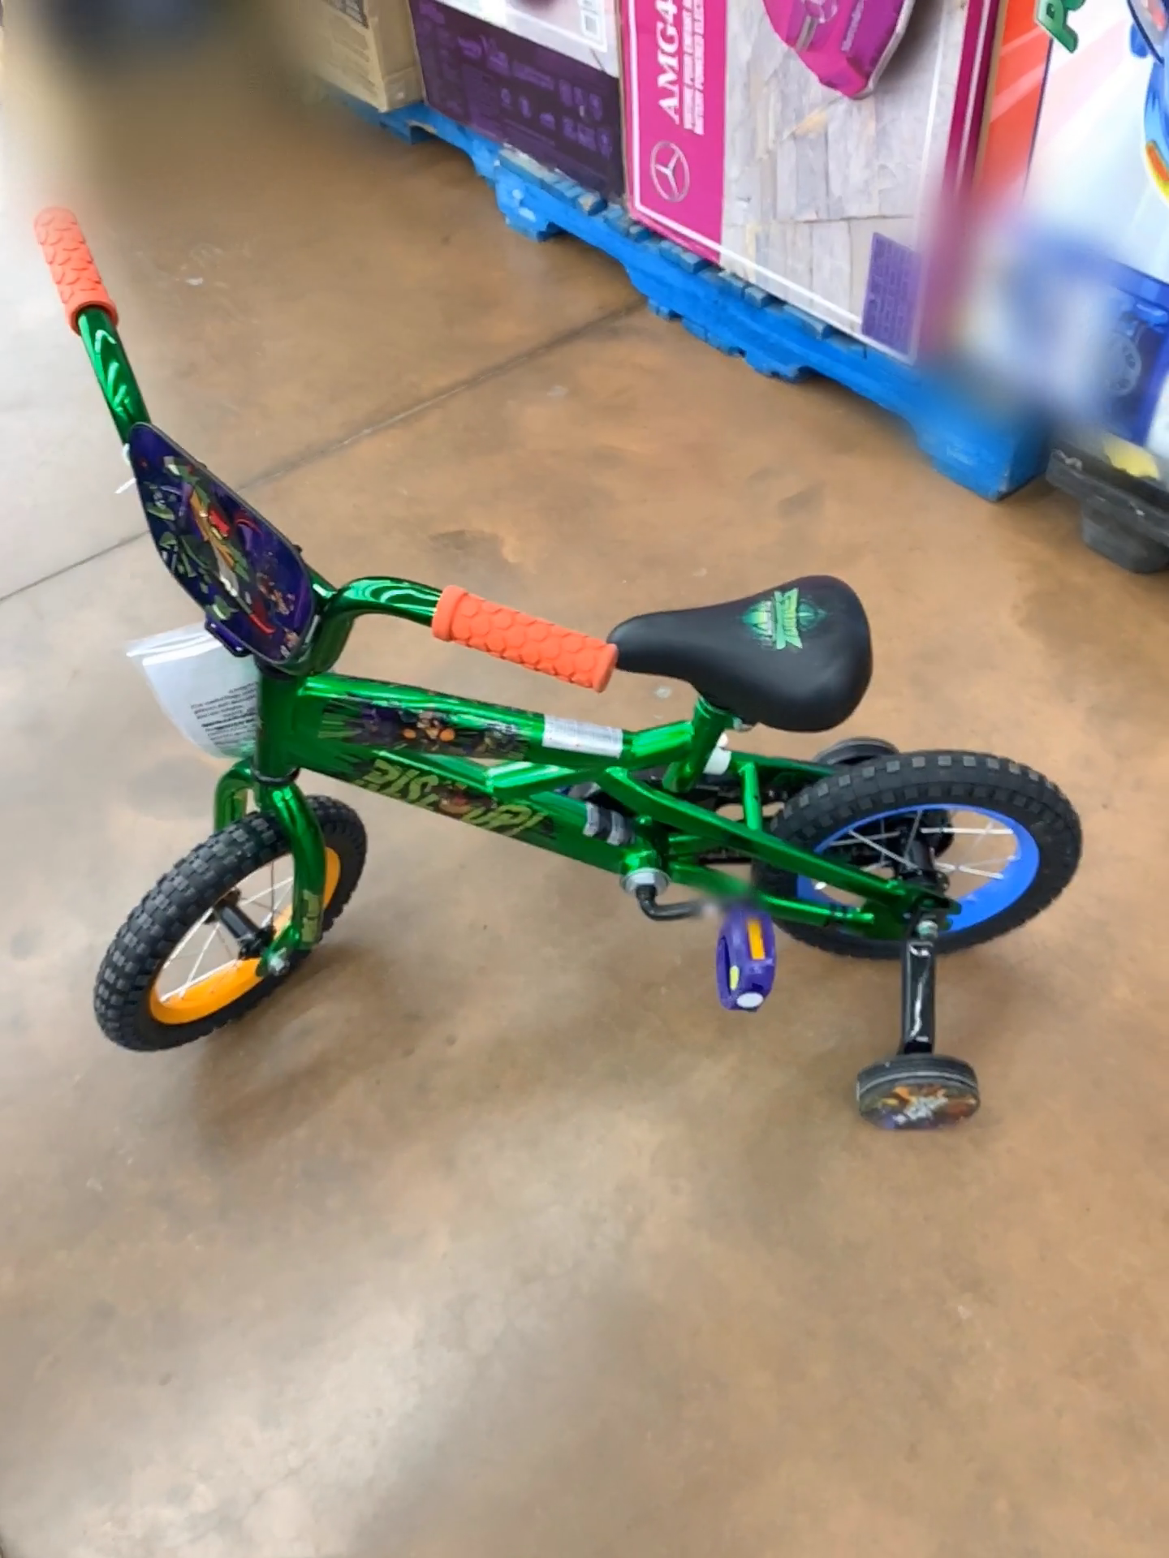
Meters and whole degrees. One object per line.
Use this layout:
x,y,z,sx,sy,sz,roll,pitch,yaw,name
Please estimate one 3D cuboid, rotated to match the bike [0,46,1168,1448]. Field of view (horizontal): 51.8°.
0.008,0.007,0.833,0.850,0.732,0.491,-8,49,-6,bike
